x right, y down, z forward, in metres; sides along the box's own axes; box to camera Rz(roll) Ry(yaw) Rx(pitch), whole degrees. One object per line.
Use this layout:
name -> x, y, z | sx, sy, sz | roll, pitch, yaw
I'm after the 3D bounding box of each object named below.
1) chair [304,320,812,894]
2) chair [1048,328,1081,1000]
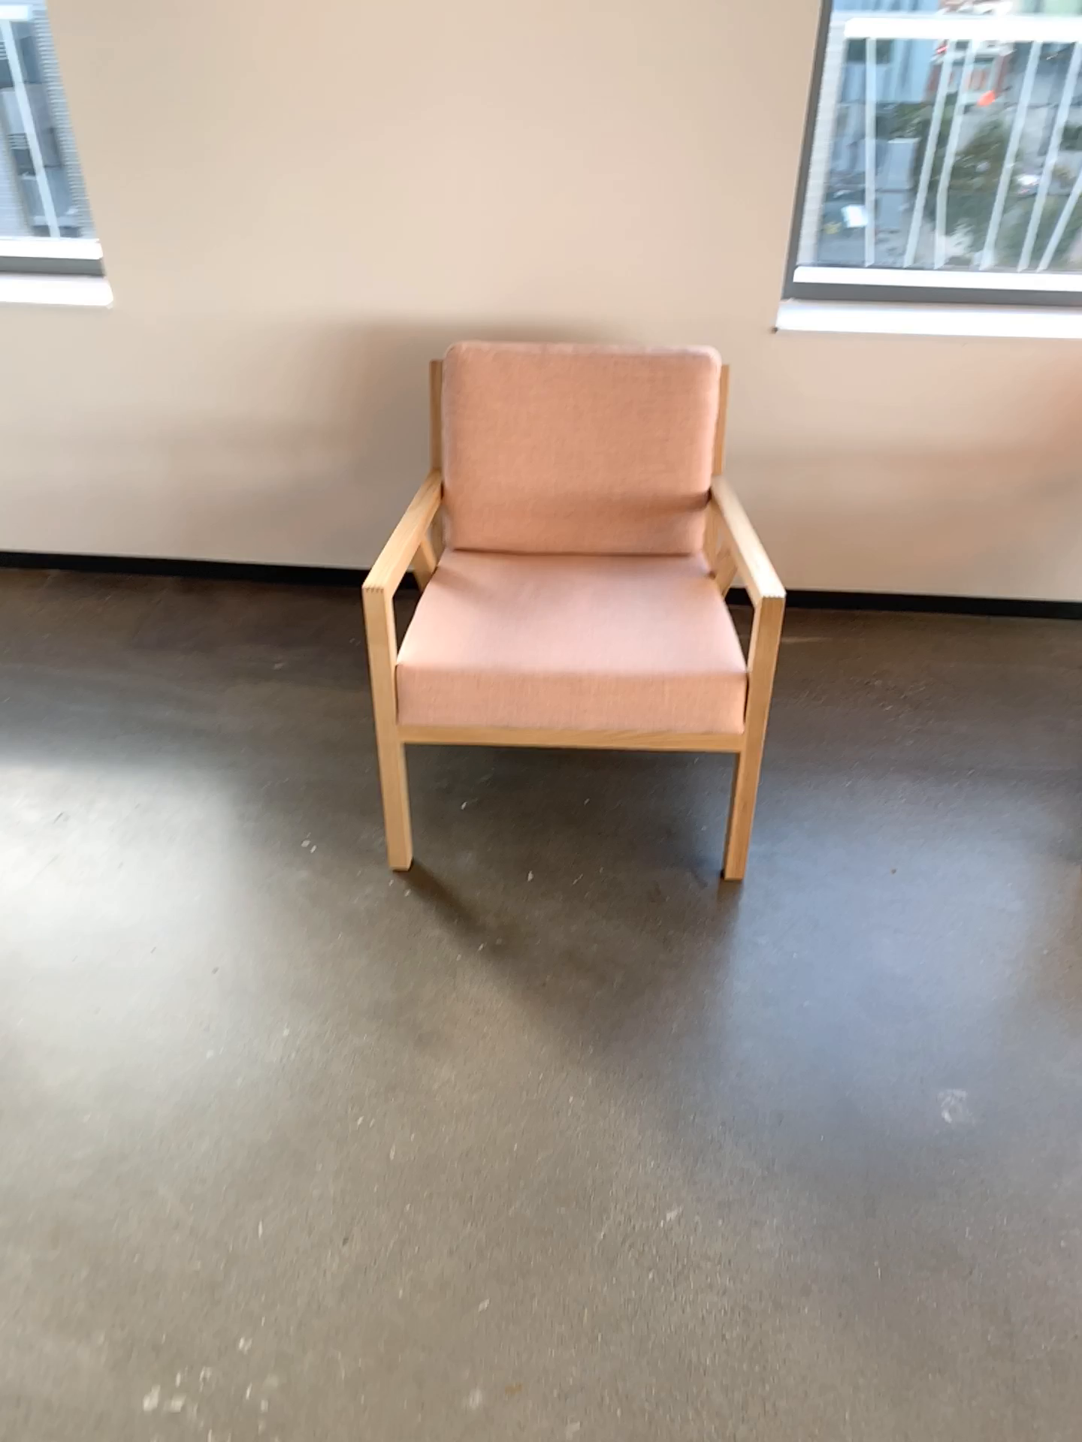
chair -> 0.047, -0.246, 2.152 | 0.740, 0.795, 0.775 | 3, 37, 3
chair -> 1.461, -0.159, 2.015 | 0.741, 0.795, 0.774 | 16, 38, 20
